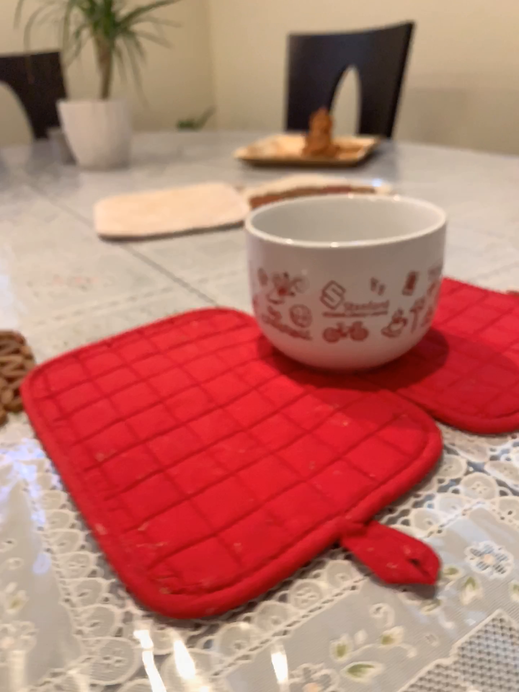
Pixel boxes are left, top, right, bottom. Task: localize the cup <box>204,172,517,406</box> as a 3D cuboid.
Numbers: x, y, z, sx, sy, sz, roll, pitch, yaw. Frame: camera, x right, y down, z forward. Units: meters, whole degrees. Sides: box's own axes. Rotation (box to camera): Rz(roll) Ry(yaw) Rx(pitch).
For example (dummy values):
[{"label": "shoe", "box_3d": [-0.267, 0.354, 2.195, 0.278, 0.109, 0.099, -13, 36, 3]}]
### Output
[{"label": "cup", "box_3d": [0.049, -0.047, 0.333, 0.120, 0.079, 0.141, -13, 29, -19]}]
